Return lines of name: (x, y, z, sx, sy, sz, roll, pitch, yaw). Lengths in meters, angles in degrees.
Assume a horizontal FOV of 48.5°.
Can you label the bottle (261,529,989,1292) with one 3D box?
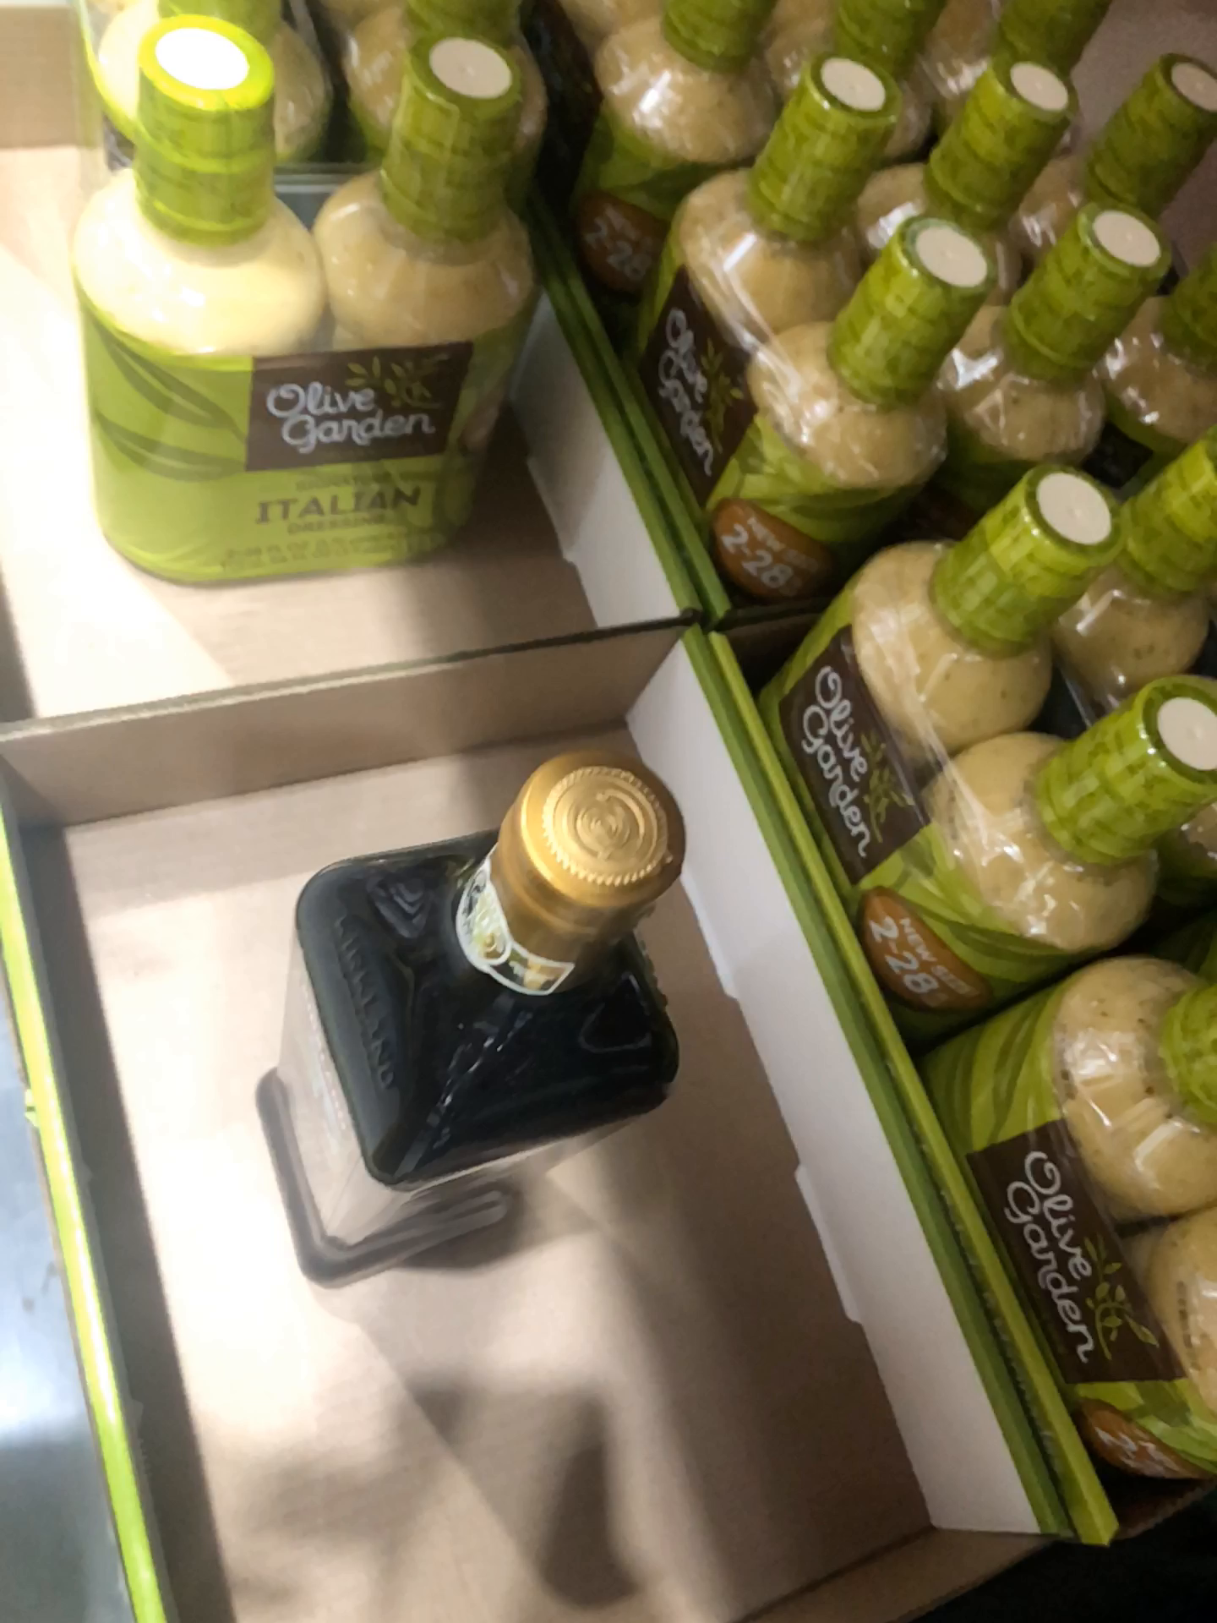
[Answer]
bottle: (-0.030, 0.056, 0.372, 0.090, 0.305, 0.090, 7, 63, -15)
